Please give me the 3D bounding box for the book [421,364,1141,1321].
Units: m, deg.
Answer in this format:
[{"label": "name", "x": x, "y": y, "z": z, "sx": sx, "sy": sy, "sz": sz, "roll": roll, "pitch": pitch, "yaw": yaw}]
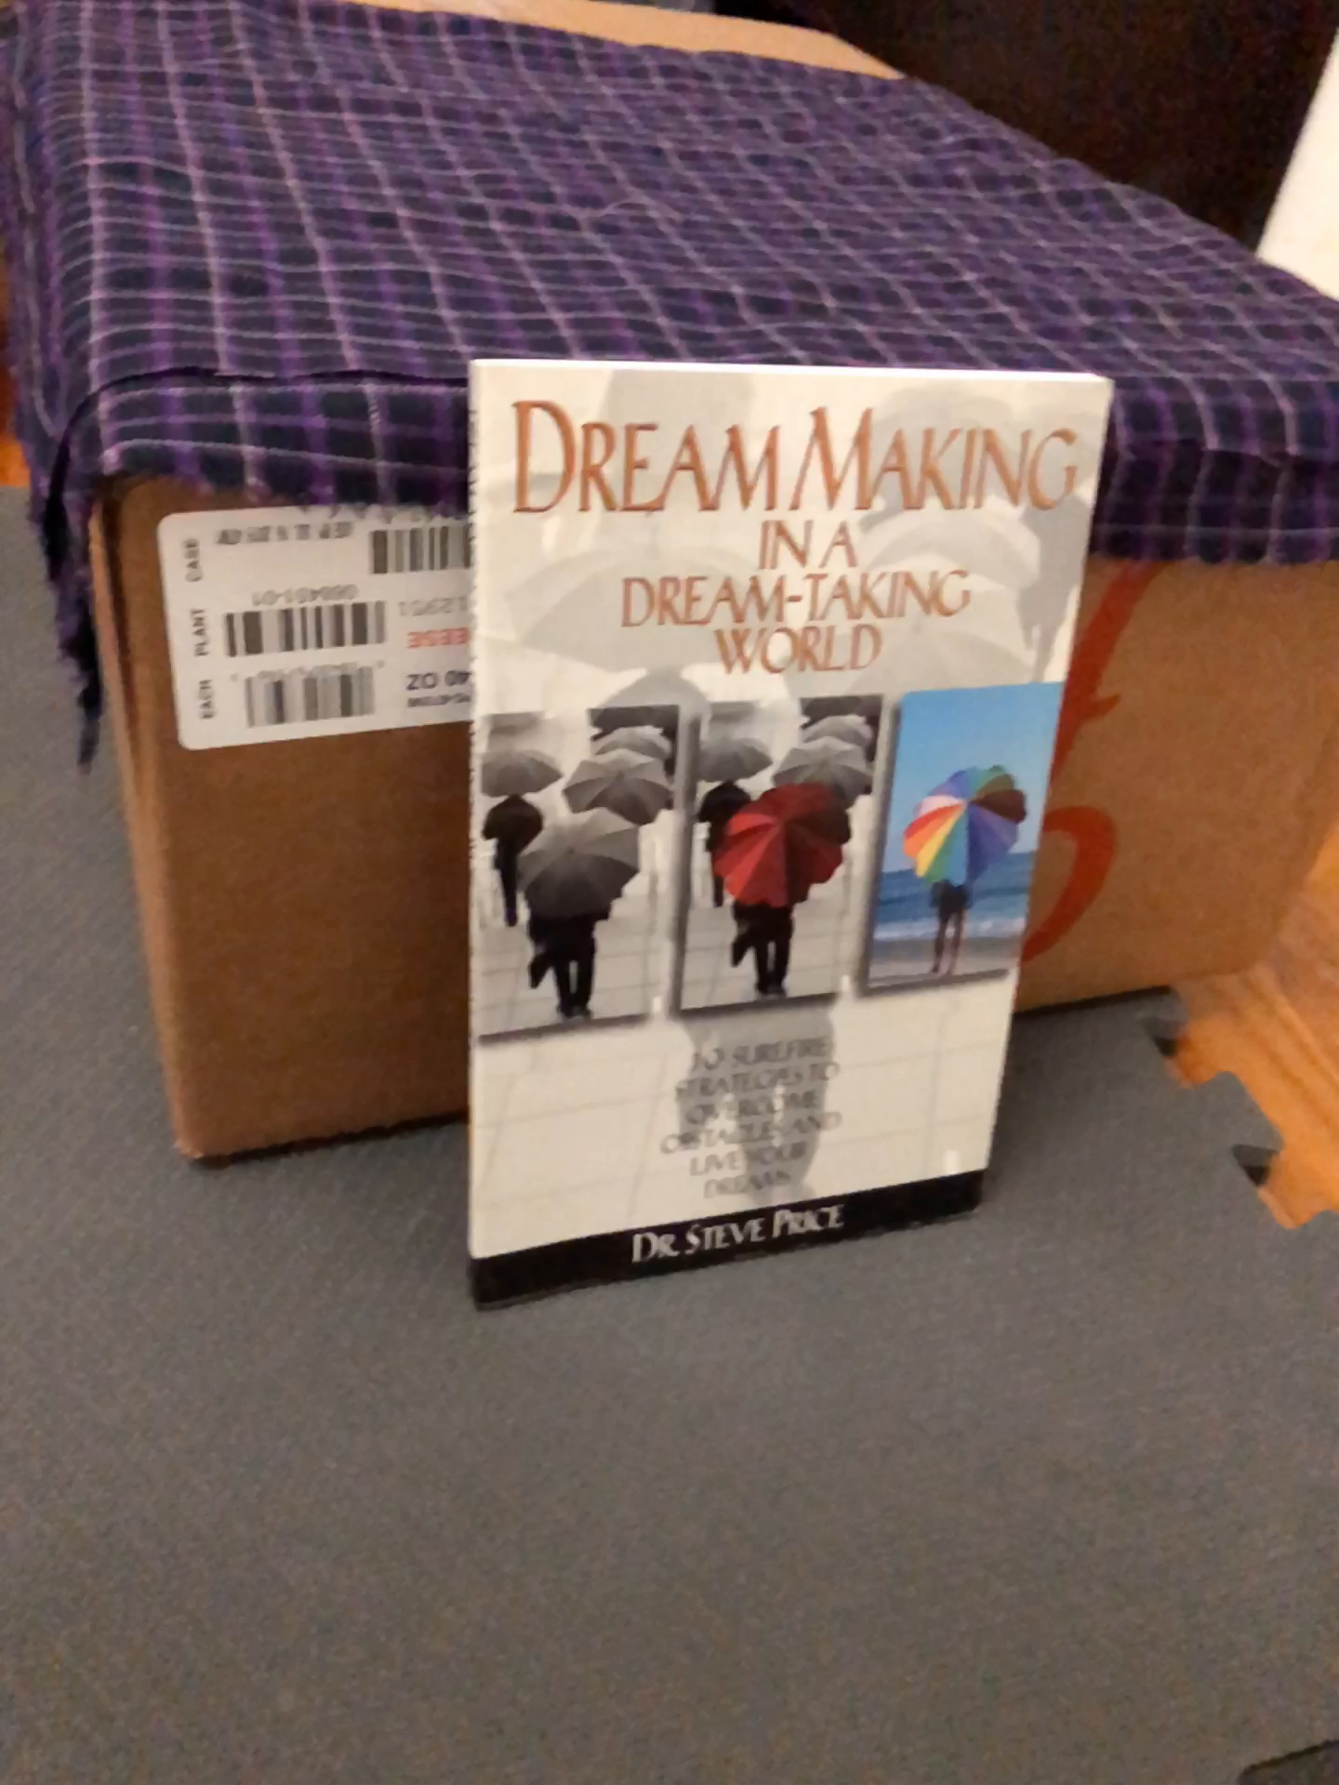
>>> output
[{"label": "book", "x": 0.022, "y": -0.006, "z": 0.348, "sx": 0.150, "sy": 0.219, "sz": 0.020, "roll": -6, "pitch": 26, "yaw": -17}]
